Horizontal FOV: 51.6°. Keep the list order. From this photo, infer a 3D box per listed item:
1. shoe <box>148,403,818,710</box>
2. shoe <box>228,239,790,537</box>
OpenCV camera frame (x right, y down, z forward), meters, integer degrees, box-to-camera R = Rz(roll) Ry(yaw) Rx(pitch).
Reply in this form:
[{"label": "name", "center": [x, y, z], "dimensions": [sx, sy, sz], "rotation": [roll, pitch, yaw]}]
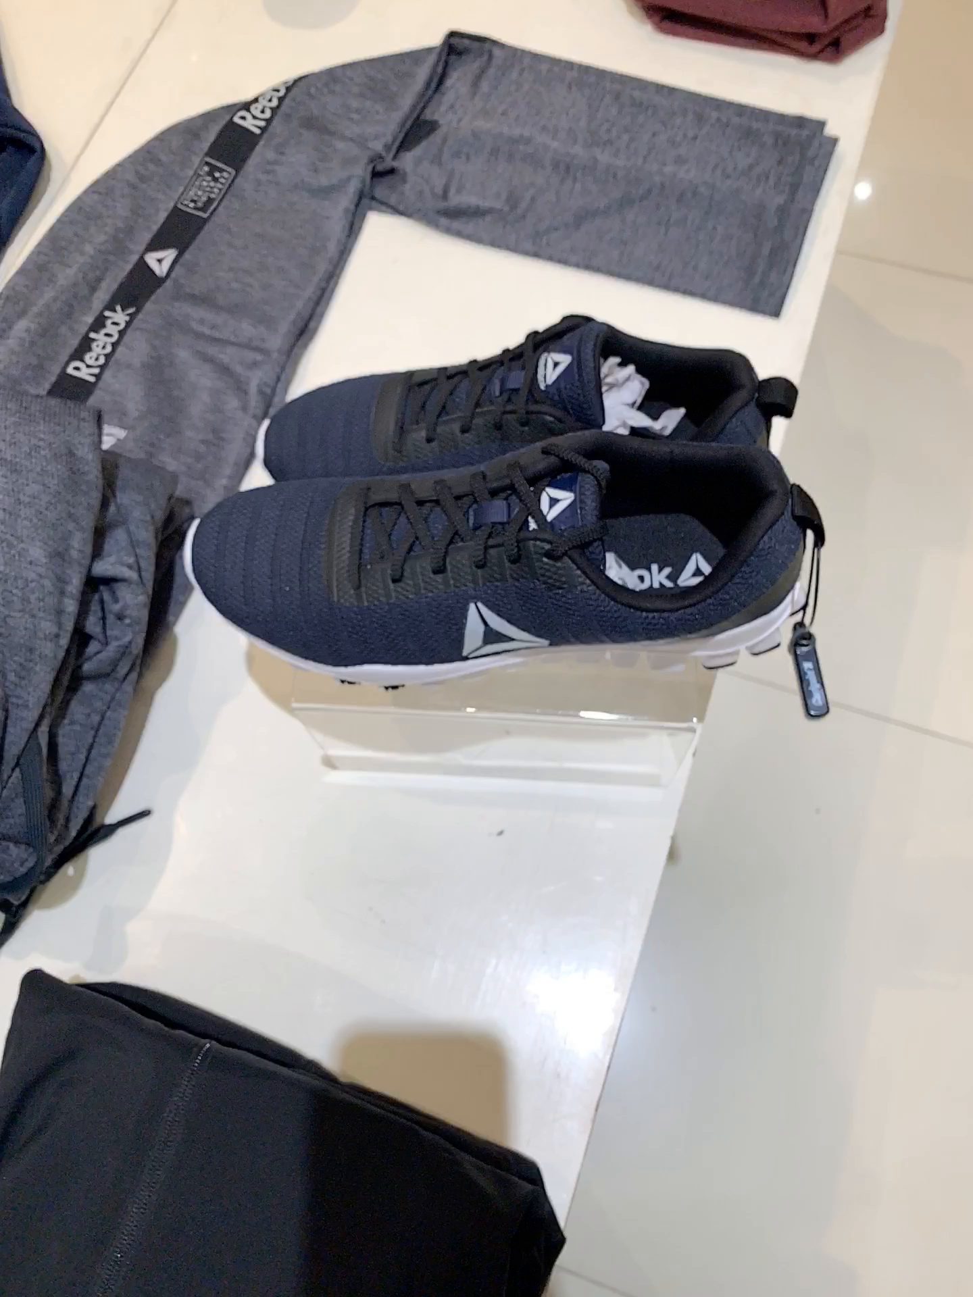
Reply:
[{"label": "shoe", "center": [0.000, -0.042, 0.479], "dimensions": [0.280, 0.080, 0.120], "rotation": [1, 69, 3]}, {"label": "shoe", "center": [0.013, -0.134, 0.555], "dimensions": [0.290, 0.080, 0.100], "rotation": [-2, 68, 18]}]
